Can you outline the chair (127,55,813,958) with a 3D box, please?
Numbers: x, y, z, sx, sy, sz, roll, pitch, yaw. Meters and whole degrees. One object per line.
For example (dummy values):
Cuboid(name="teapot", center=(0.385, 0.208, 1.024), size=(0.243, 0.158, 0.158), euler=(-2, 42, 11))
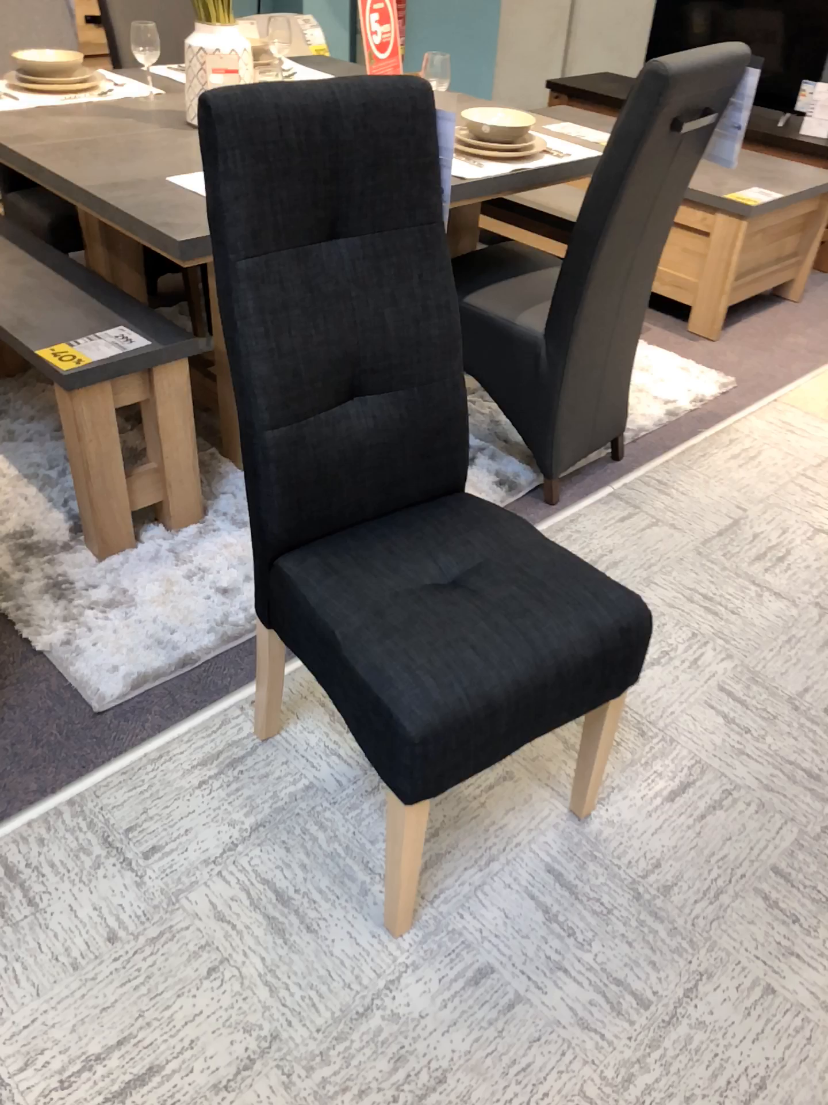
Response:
Cuboid(name="chair", center=(0.008, -0.067, 1.296), size=(0.482, 1.043, 0.601), euler=(-22, 44, -31))
